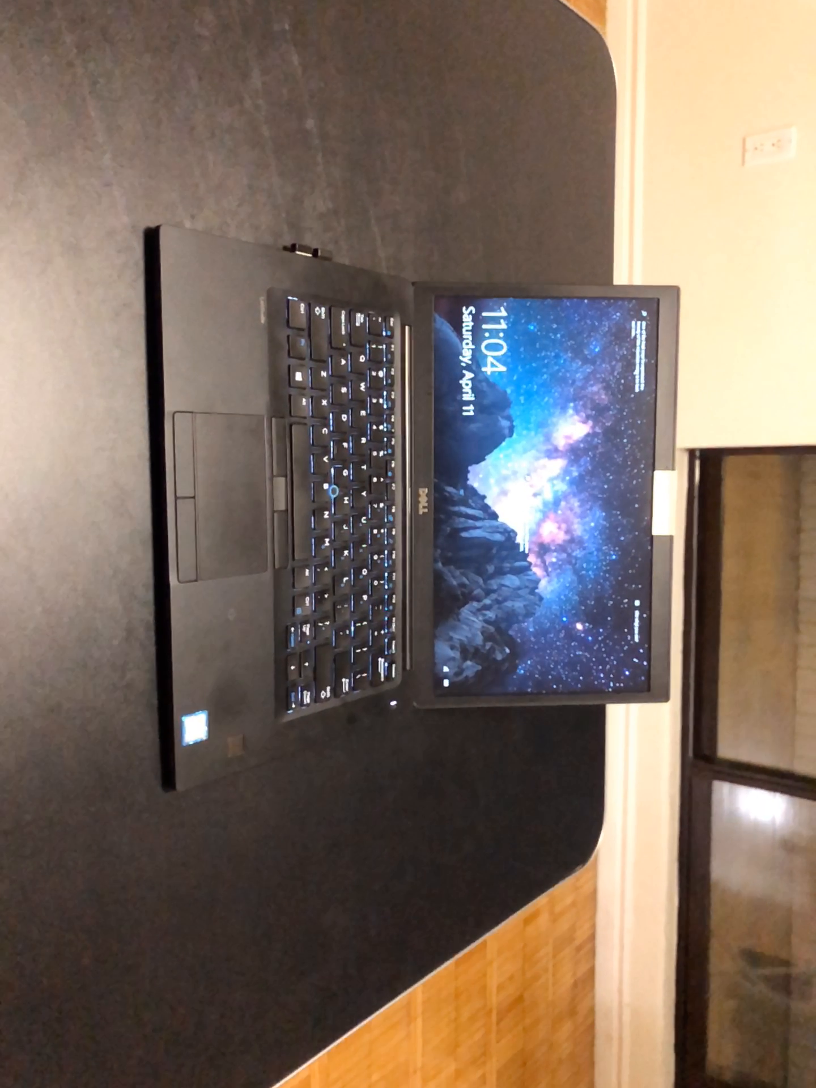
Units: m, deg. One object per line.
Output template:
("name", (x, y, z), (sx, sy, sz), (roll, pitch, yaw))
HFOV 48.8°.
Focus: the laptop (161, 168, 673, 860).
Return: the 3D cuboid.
("laptop", (0.035, -0.026, 0.603), (0.370, 0.140, 0.319), (-7, 99, -51))
